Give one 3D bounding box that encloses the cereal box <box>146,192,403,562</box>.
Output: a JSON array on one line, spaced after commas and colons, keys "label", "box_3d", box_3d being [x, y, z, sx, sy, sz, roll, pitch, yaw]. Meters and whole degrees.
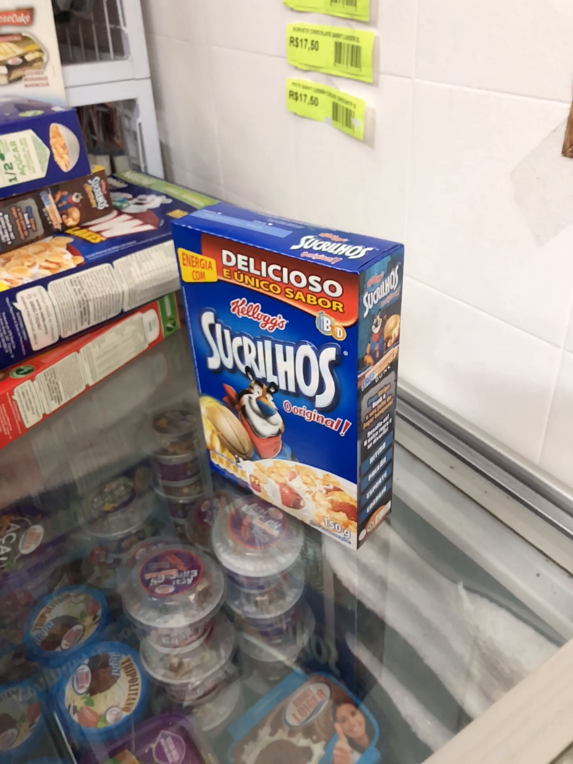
[{"label": "cereal box", "box_3d": [-0.006, -0.002, 0.401, 0.141, 0.198, 0.050, 23, 42, 33]}]
